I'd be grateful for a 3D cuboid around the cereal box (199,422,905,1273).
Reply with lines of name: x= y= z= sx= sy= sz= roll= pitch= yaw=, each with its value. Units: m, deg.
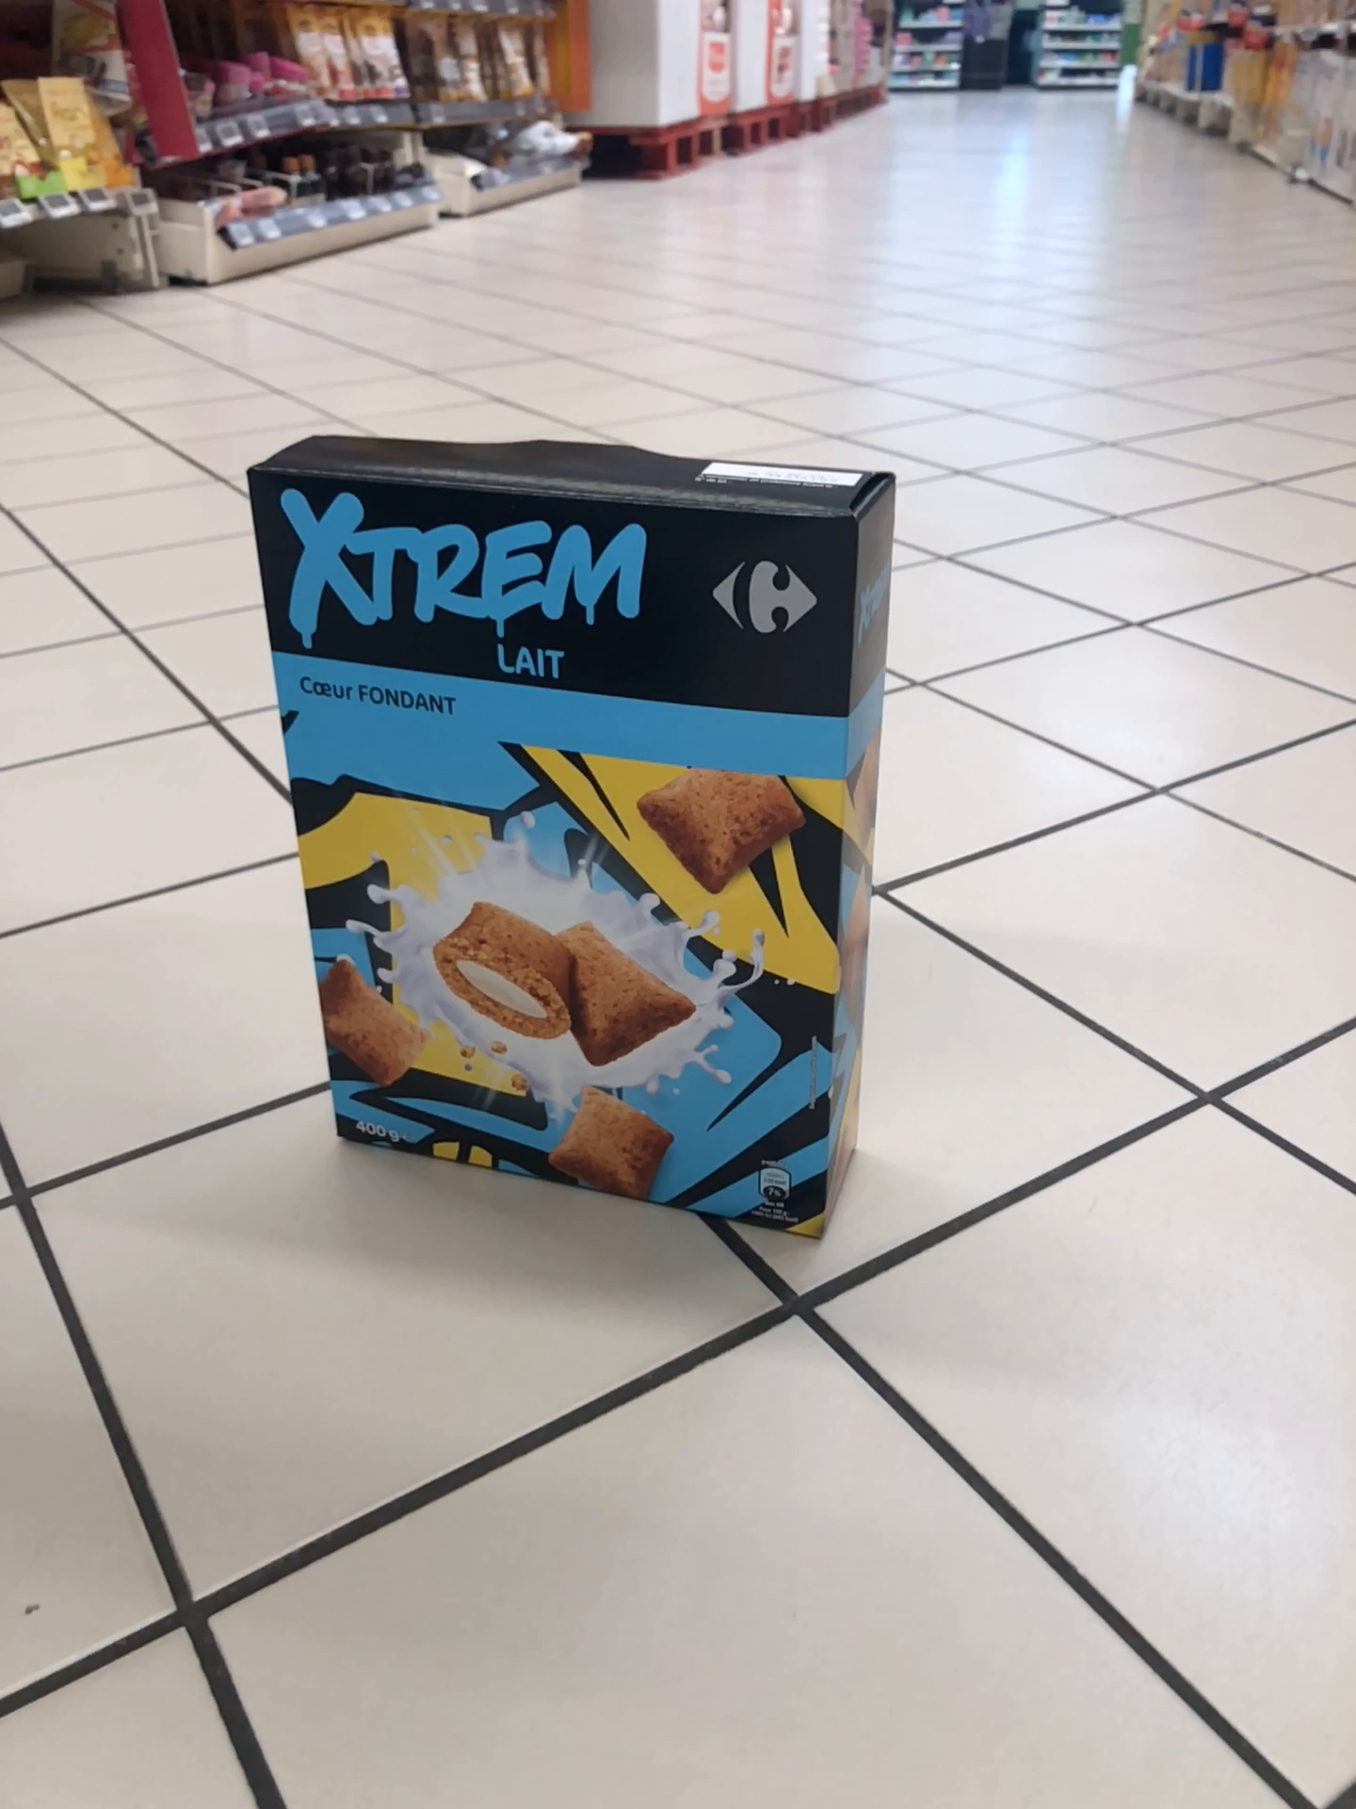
cereal box: x=-0.036 y=-0.017 z=0.502 sx=0.200 sy=0.259 sz=0.060 roll=9 pitch=30 yaw=17
